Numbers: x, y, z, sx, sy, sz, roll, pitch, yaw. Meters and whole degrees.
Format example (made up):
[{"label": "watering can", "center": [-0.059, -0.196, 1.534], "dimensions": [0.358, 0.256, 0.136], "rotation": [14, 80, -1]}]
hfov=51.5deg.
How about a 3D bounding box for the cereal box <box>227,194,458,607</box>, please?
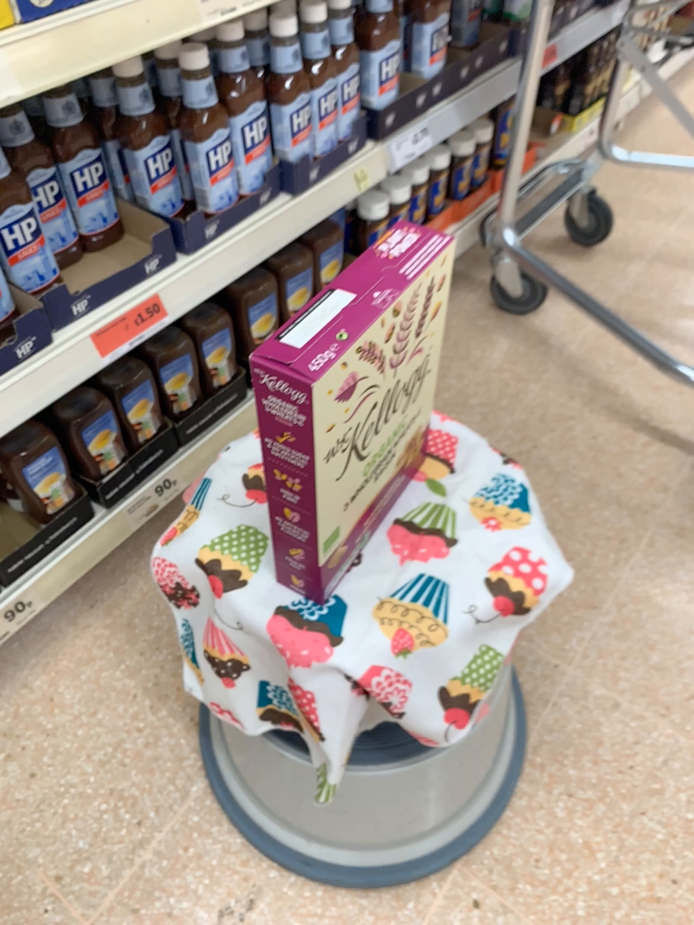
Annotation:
[{"label": "cereal box", "center": [0.006, -0.041, 0.554], "dimensions": [0.050, 0.248, 0.201], "rotation": [24, 52, 21]}]
